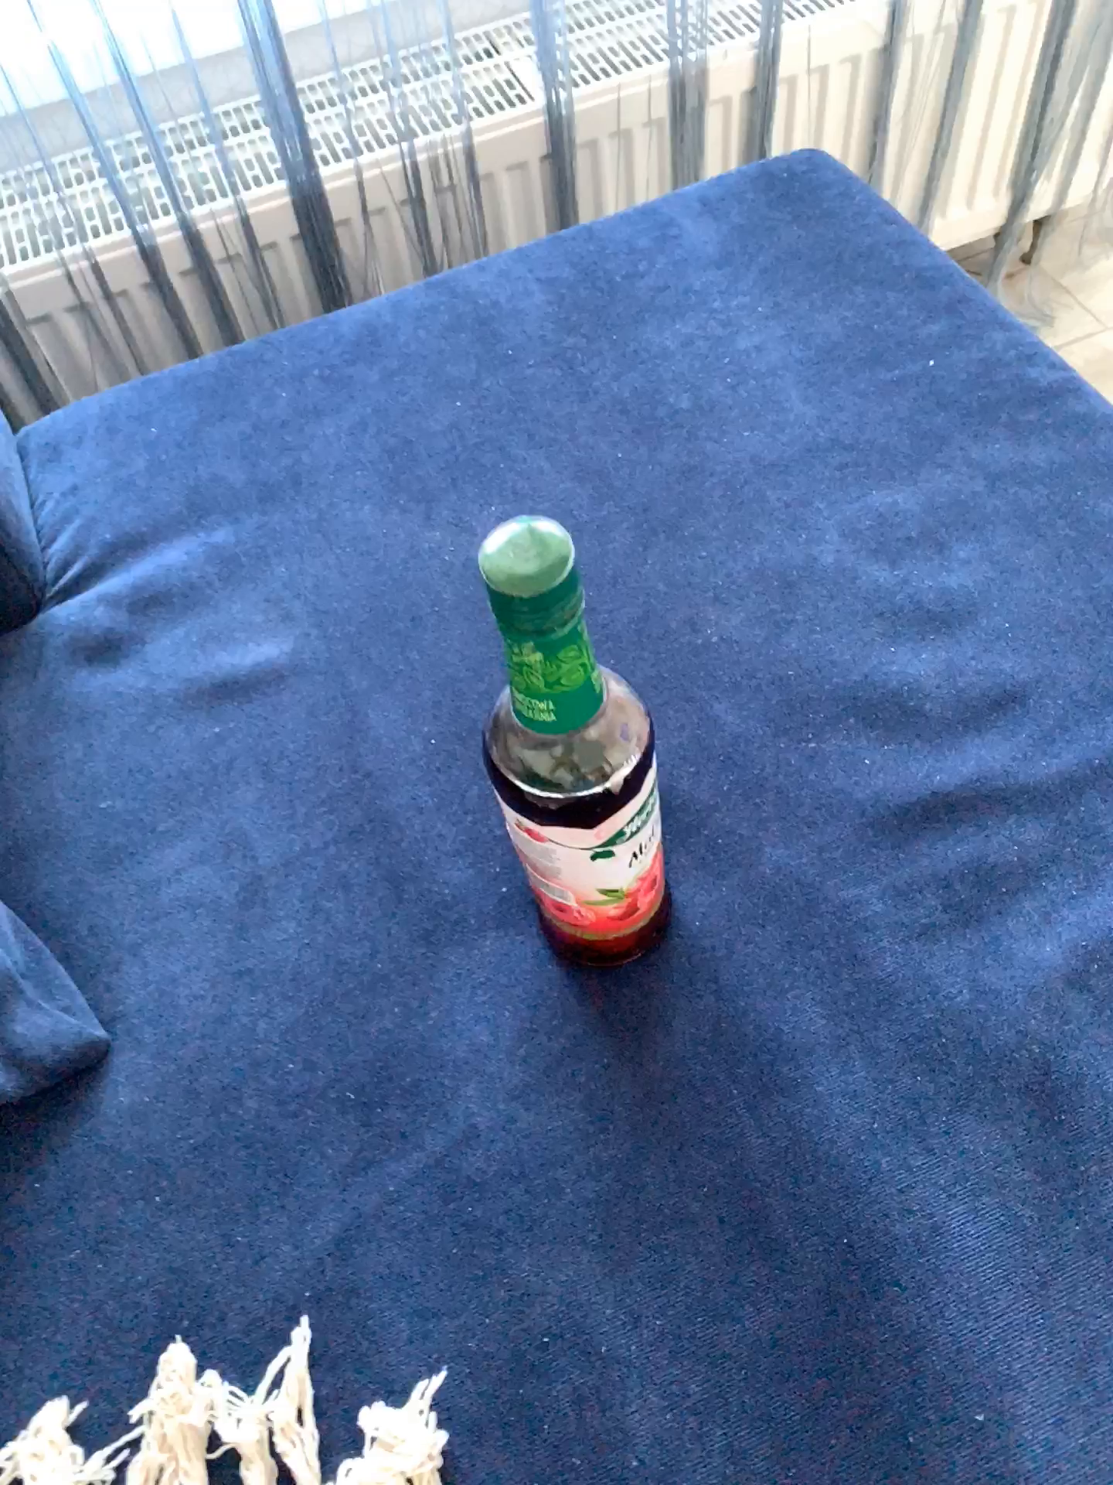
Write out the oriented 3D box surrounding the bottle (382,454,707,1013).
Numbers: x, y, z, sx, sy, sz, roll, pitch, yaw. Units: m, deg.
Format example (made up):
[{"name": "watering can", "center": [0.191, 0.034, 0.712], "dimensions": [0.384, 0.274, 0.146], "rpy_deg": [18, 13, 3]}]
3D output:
[{"name": "bottle", "center": [0.008, 0.016, 0.435], "dimensions": [0.070, 0.249, 0.070], "rpy_deg": [-3, 57, 4]}]
